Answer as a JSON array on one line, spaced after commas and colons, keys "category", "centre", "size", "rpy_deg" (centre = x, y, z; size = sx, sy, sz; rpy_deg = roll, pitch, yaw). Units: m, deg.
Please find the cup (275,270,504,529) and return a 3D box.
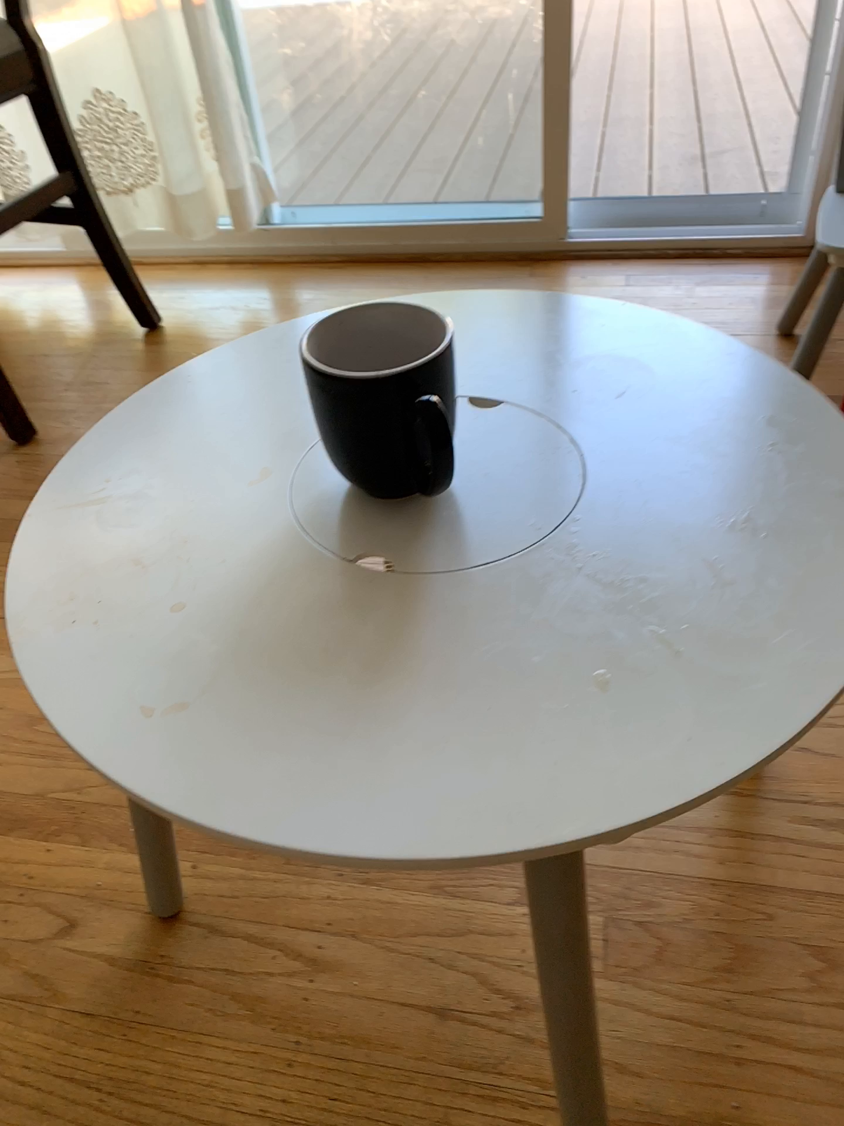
[{"category": "cup", "centre": [-0.023, -0.111, 0.566], "size": [0.100, 0.090, 0.141], "rpy_deg": [-18, 43, -12]}]
